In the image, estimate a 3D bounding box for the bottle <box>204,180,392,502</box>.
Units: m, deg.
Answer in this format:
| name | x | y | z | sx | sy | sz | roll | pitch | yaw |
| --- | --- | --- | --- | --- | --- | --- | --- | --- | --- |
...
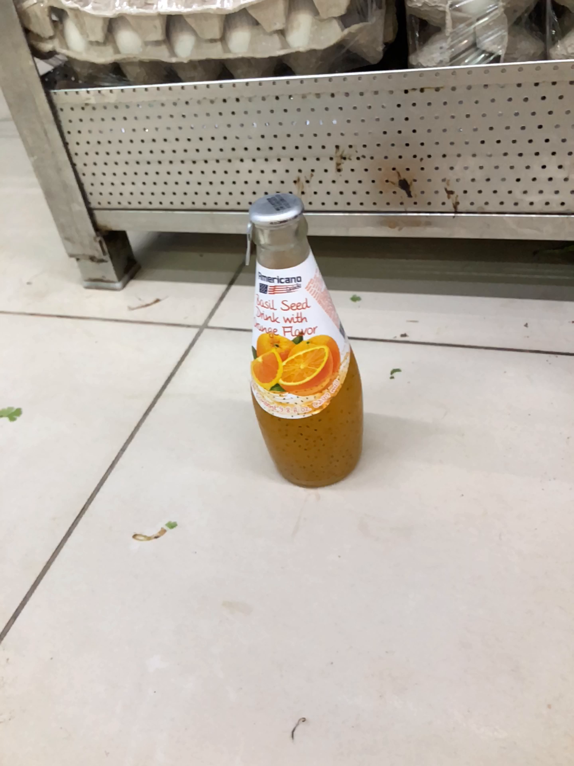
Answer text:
| name | x | y | z | sx | sy | sz | roll | pitch | yaw |
| --- | --- | --- | --- | --- | --- | --- | --- | --- | --- |
| bottle | 0.017 | -0.017 | 0.361 | 0.070 | 0.169 | 0.071 | -7 | 39 | 6 |
